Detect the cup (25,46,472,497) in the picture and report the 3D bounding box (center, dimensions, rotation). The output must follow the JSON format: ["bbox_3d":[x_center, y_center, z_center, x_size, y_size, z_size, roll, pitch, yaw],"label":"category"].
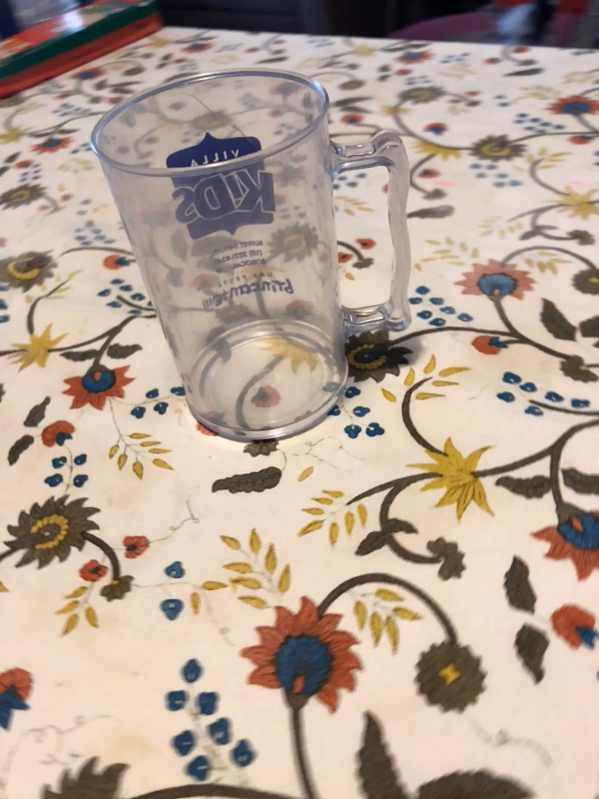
[{"bbox_3d":[-0.011,-0.041,0.230,0.110,0.109,0.081,-9,45,0],"label":"cup"}]
